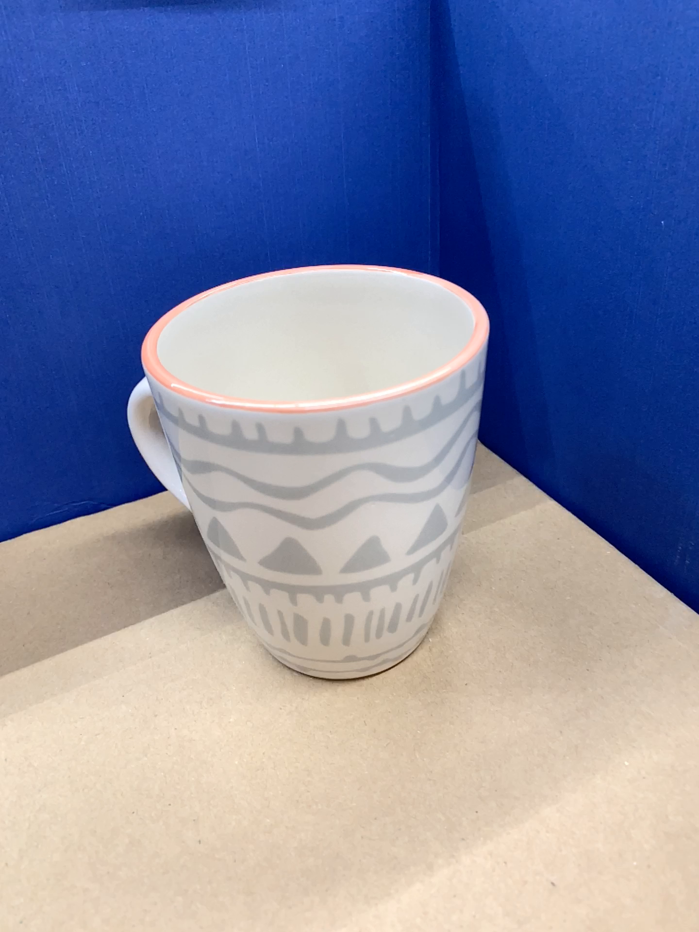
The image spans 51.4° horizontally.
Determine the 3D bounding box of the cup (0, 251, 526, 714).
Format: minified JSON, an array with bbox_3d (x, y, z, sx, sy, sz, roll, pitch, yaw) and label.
[{"bbox_3d":[-0.019,-0.007,0.218,0.119,0.082,0.097,9,34,20],"label":"cup"}]
